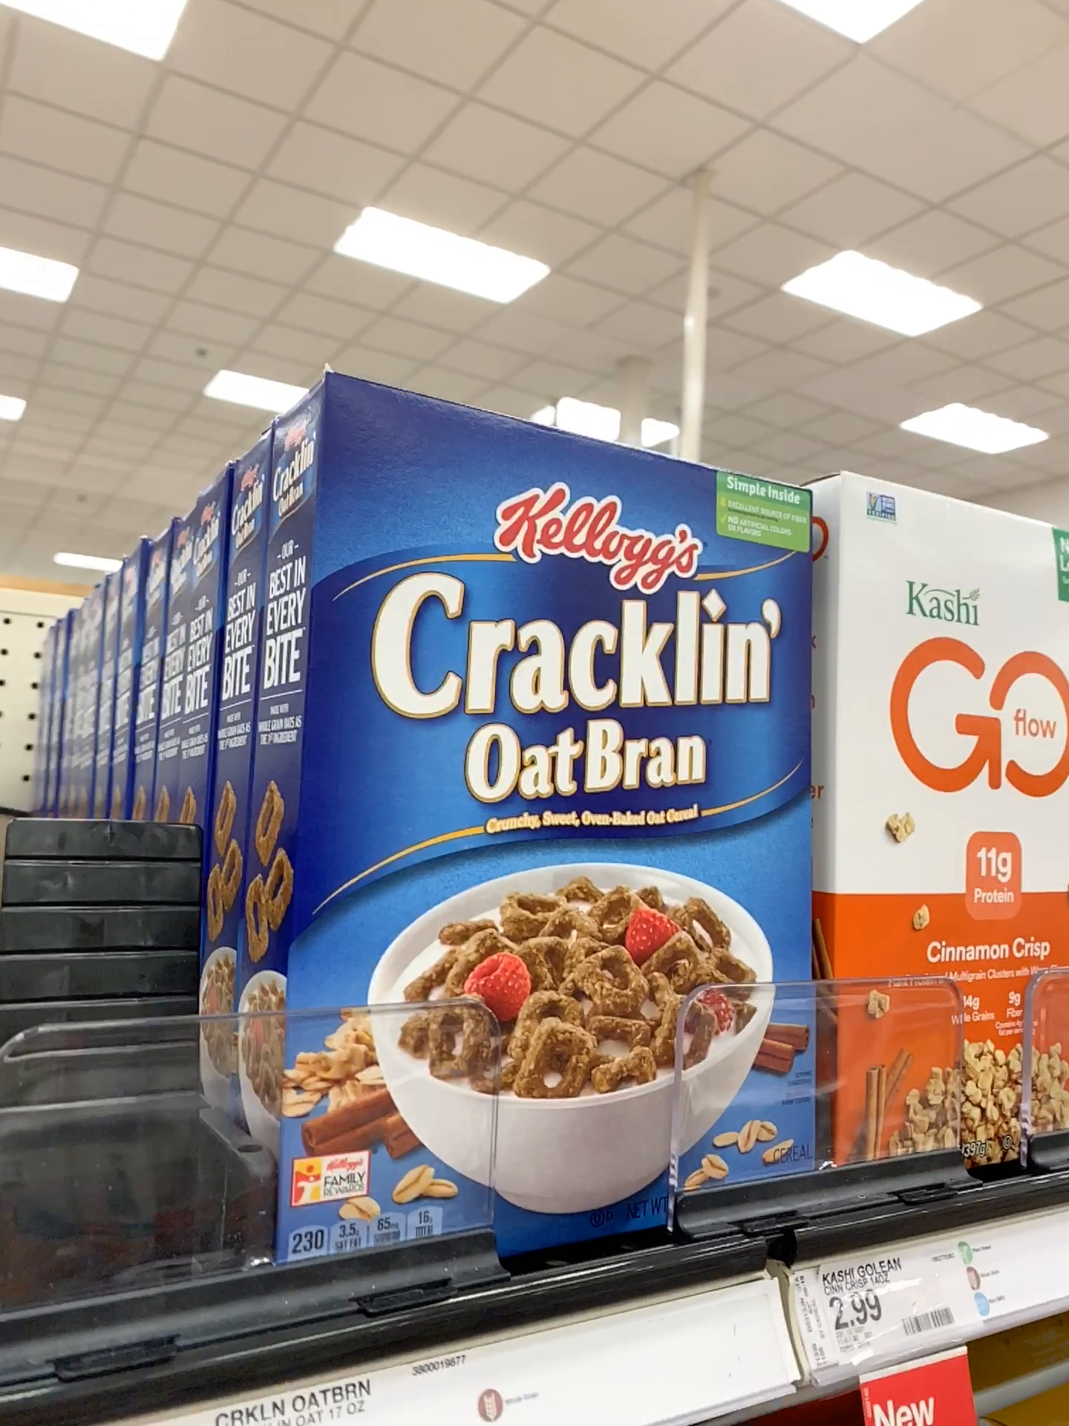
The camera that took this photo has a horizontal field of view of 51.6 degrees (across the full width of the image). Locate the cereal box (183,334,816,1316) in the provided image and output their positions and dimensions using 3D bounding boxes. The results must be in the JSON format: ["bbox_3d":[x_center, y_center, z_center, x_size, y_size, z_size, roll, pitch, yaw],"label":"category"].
[{"bbox_3d":[0.002,0.031,0.346,0.190,0.240,0.050,6,-7,-34],"label":"cereal box"}]
